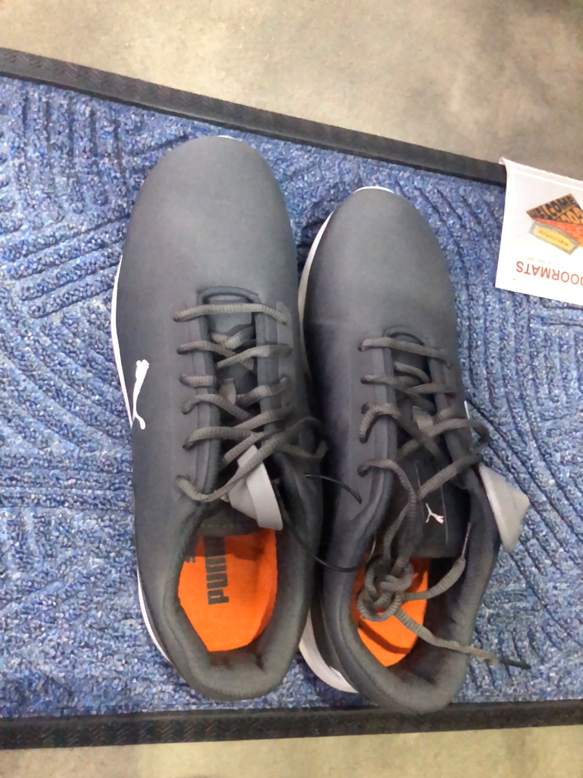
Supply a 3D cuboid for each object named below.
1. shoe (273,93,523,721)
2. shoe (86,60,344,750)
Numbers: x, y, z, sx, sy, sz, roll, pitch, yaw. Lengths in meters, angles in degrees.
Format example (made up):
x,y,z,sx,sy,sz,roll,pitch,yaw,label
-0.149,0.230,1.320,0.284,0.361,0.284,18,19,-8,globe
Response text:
x,y,z,sx,sy,sz,roll,pitch,yaw,label
0.057,0.009,0.369,0.100,0.100,0.300,4,85,-16,shoe
-0.044,0.006,0.344,0.110,0.100,0.300,2,85,-16,shoe
